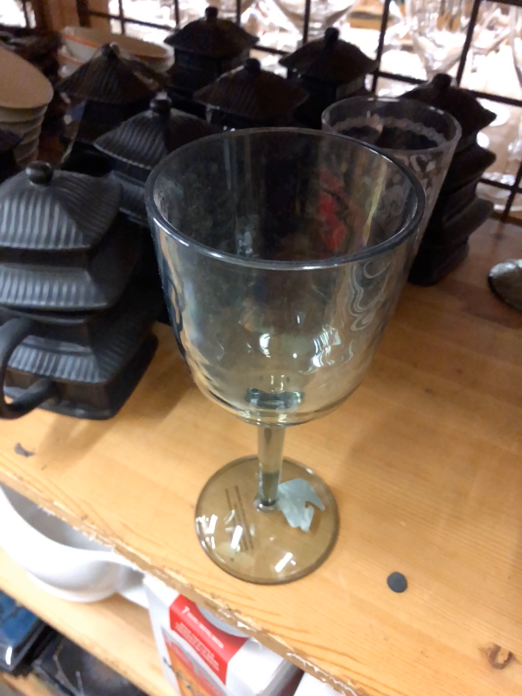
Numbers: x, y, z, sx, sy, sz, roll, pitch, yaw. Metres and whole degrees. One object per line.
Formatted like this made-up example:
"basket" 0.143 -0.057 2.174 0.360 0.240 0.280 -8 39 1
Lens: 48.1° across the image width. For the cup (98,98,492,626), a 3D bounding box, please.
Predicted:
"cup" 0.010 0.016 0.264 0.091 0.204 0.094 1 43 -1
